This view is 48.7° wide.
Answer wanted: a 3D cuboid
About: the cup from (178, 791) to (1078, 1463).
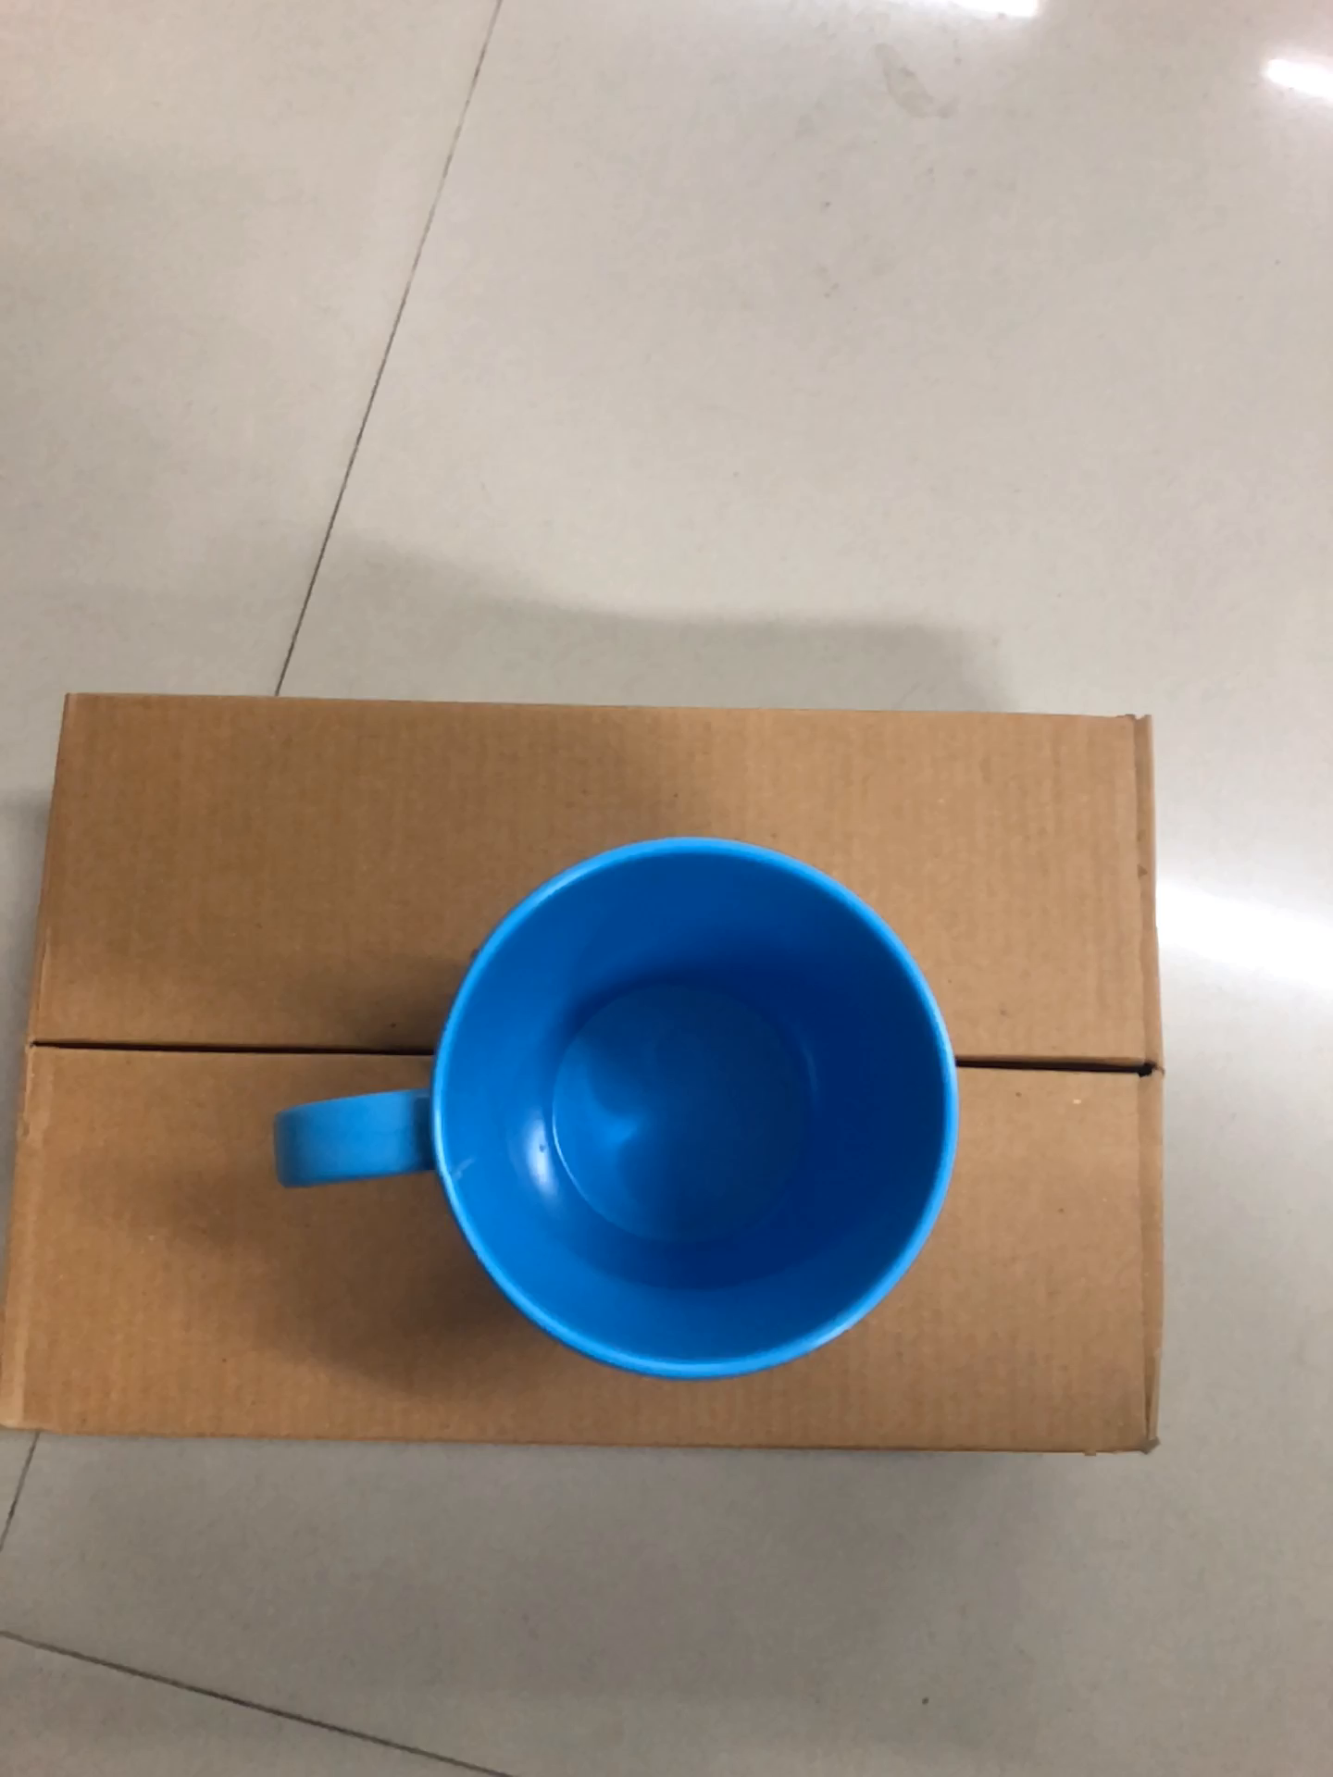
[{"bbox_3d":[-0.008,0.040,0.256,0.120,0.090,0.080,-7,81,-2],"label":"cup"}]
